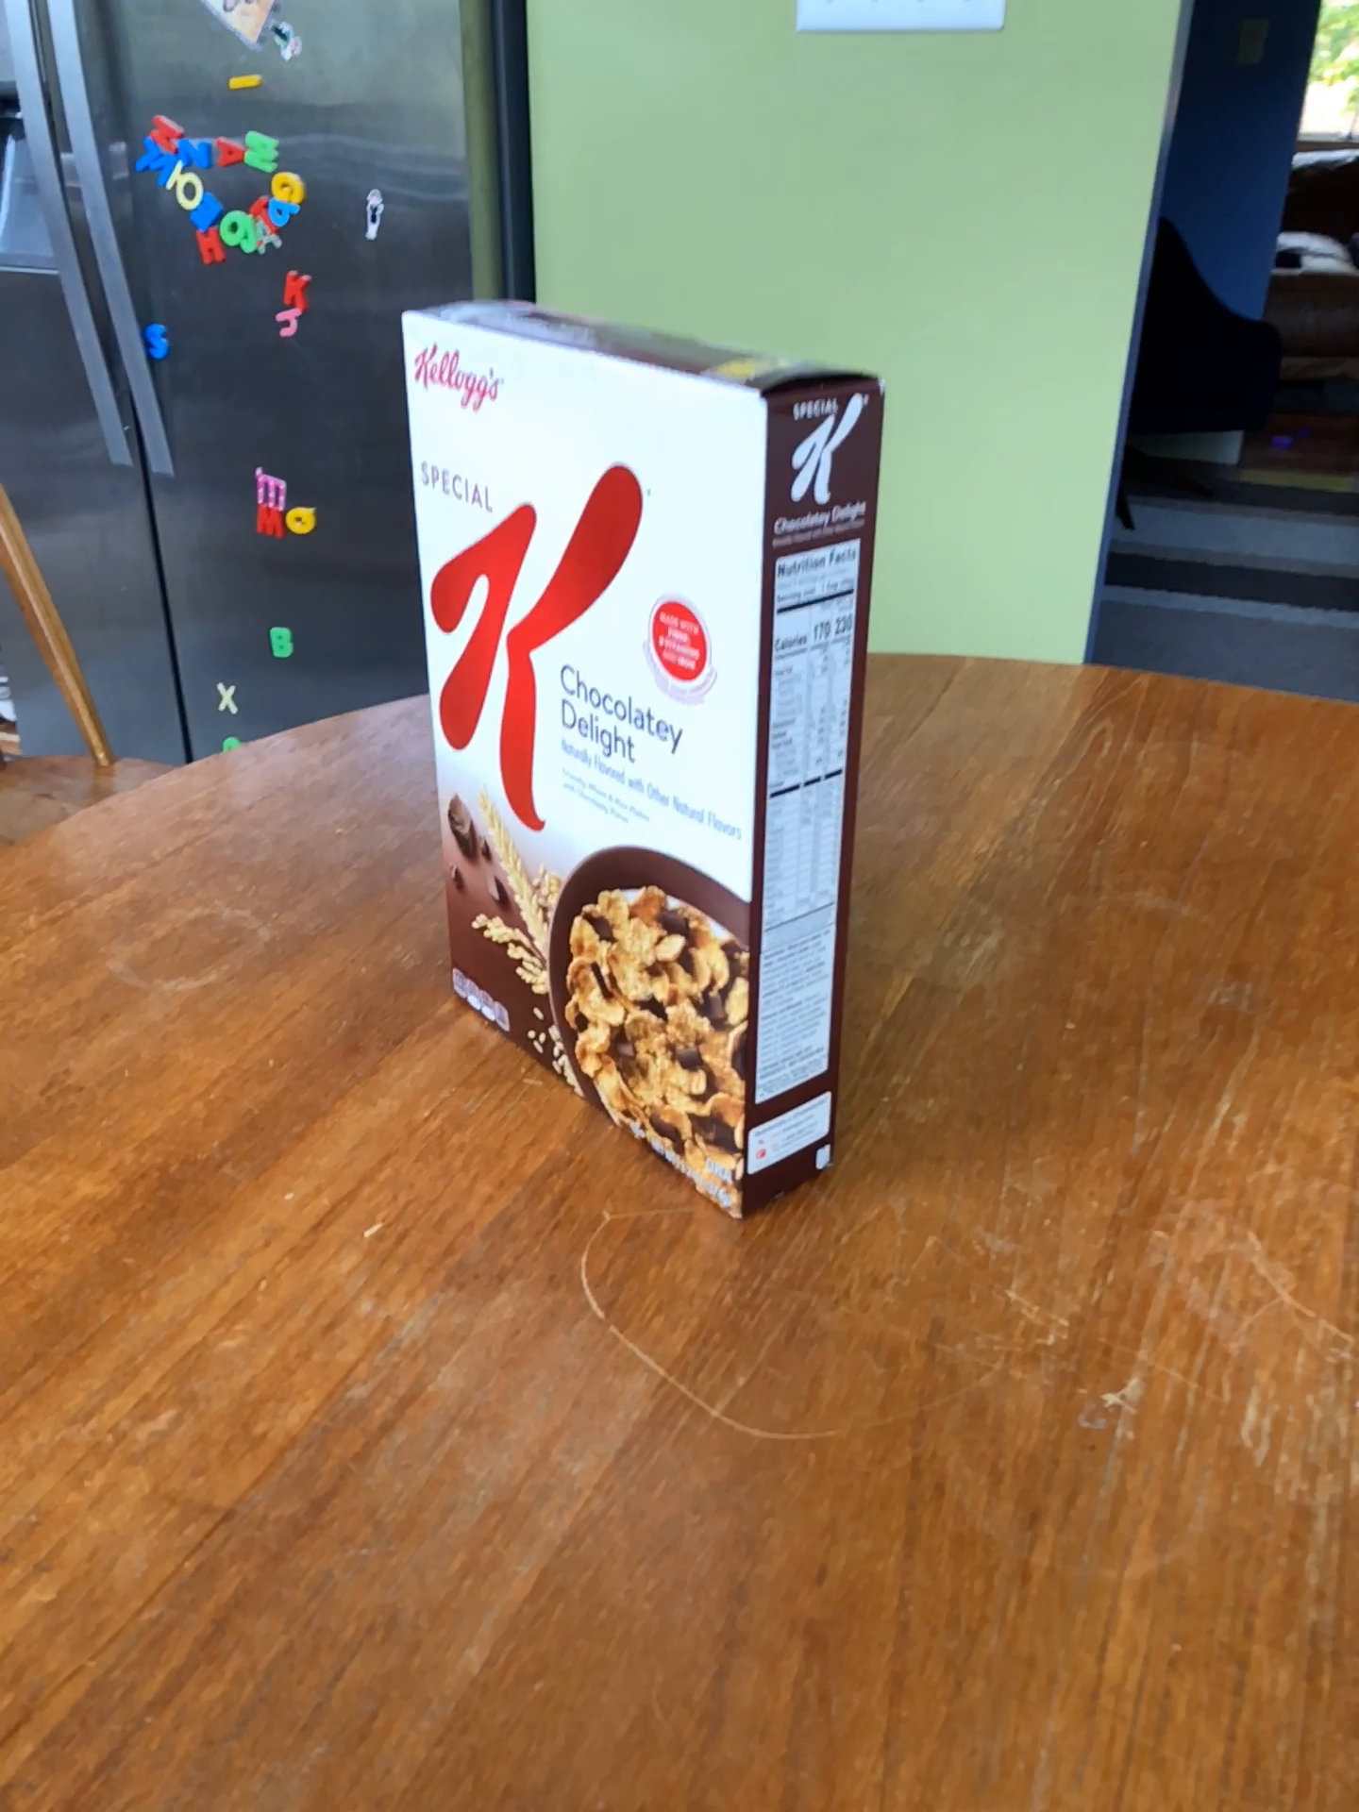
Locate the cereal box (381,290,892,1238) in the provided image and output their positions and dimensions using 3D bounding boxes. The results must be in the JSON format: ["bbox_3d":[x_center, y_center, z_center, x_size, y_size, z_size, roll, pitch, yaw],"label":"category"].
[{"bbox_3d":[-0.023,-0.056,0.538,0.050,0.288,0.201,-21,35,-33],"label":"cereal box"}]
